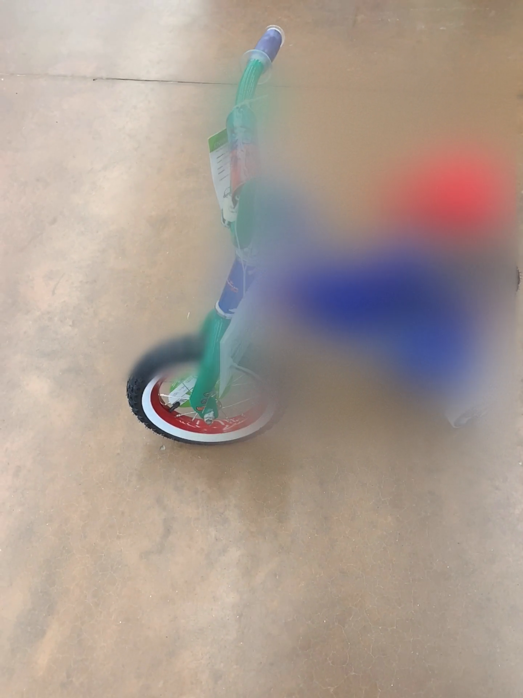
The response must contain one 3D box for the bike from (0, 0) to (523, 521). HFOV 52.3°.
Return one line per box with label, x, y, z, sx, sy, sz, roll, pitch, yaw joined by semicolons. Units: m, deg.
bike;0.128;-0.149;0.883;0.775;0.670;0.461;-16;58;-11
